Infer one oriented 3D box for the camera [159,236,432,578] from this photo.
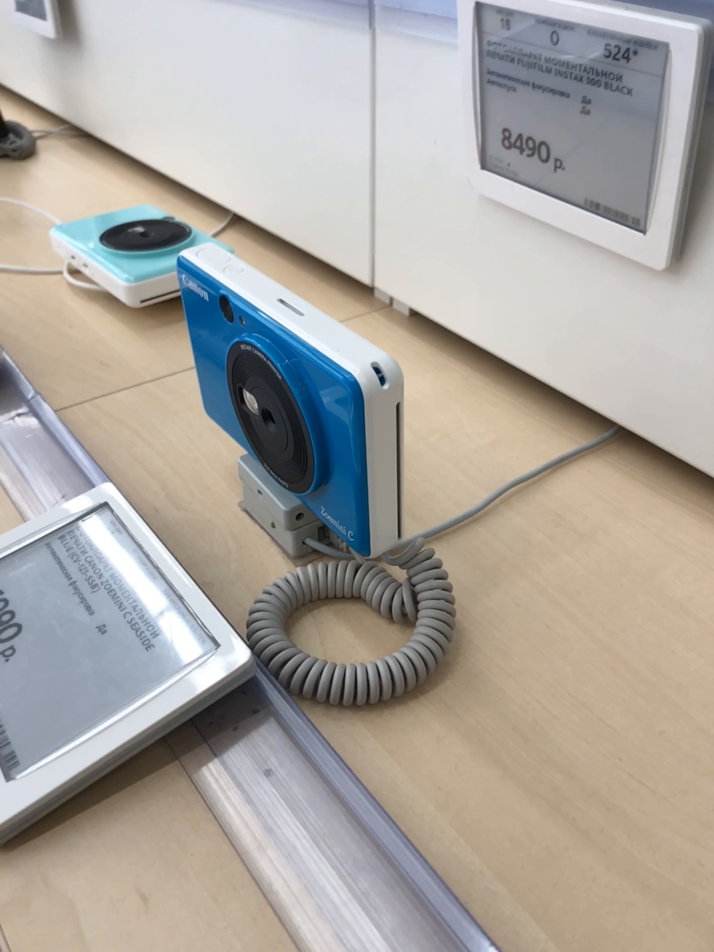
[{"bbox_3d":[-0.024,-0.029,0.279,0.030,0.070,0.120,-26,44,-24],"label":"camera"}]
